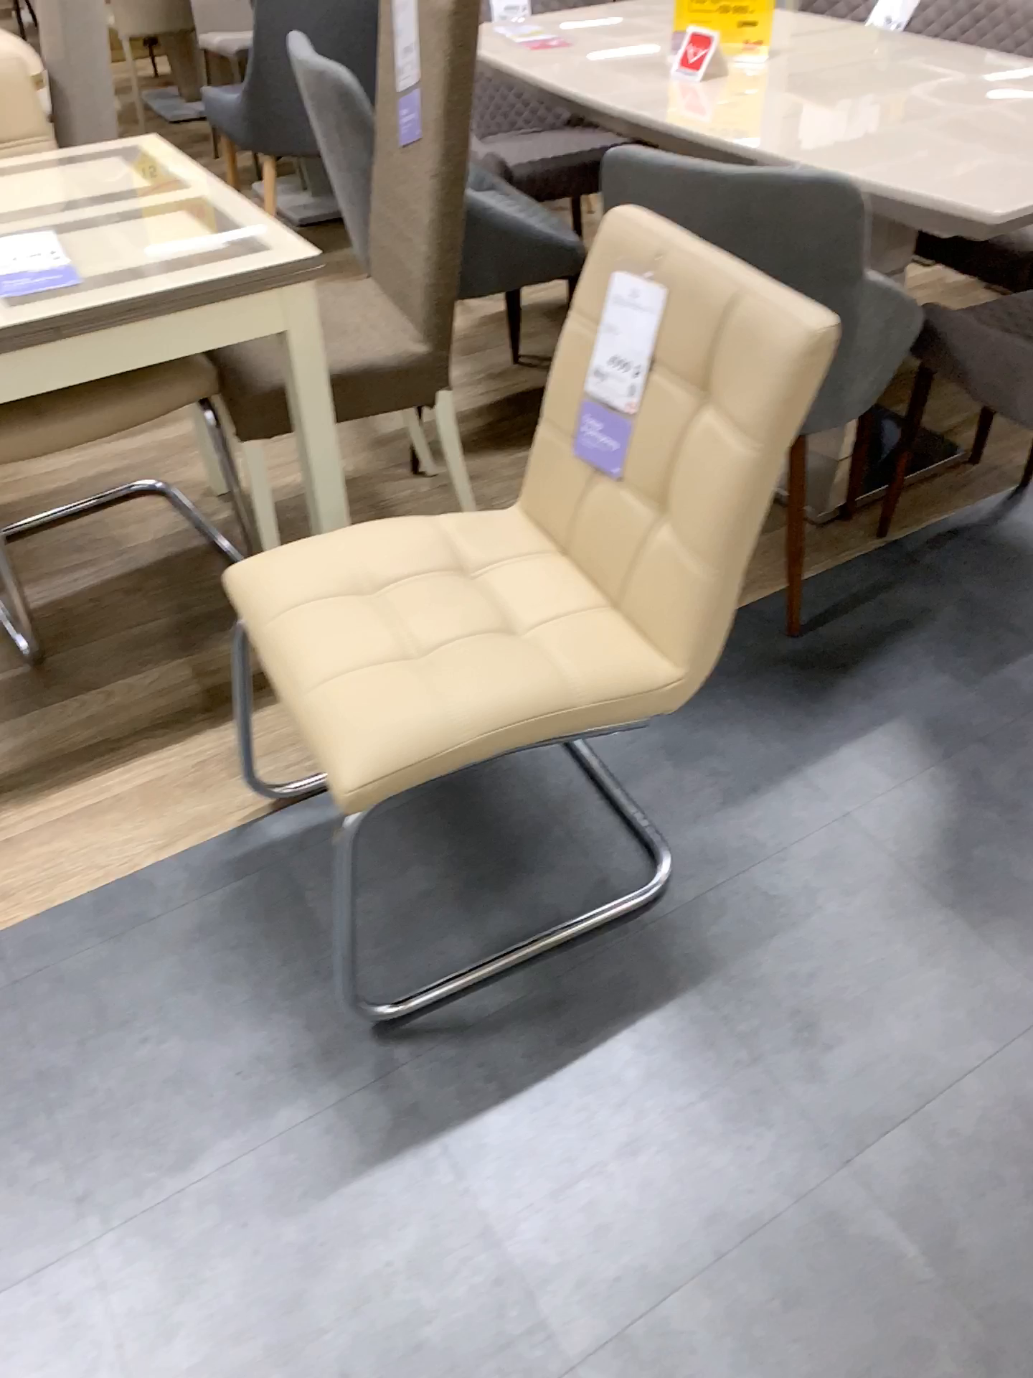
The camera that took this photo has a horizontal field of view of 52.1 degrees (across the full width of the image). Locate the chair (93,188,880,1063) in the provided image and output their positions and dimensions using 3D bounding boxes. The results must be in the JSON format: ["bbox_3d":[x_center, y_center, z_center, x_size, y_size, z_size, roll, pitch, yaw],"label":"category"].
[{"bbox_3d":[-0.051,-0.090,1.357,0.651,0.815,0.532,-19,43,-19],"label":"chair"}]
